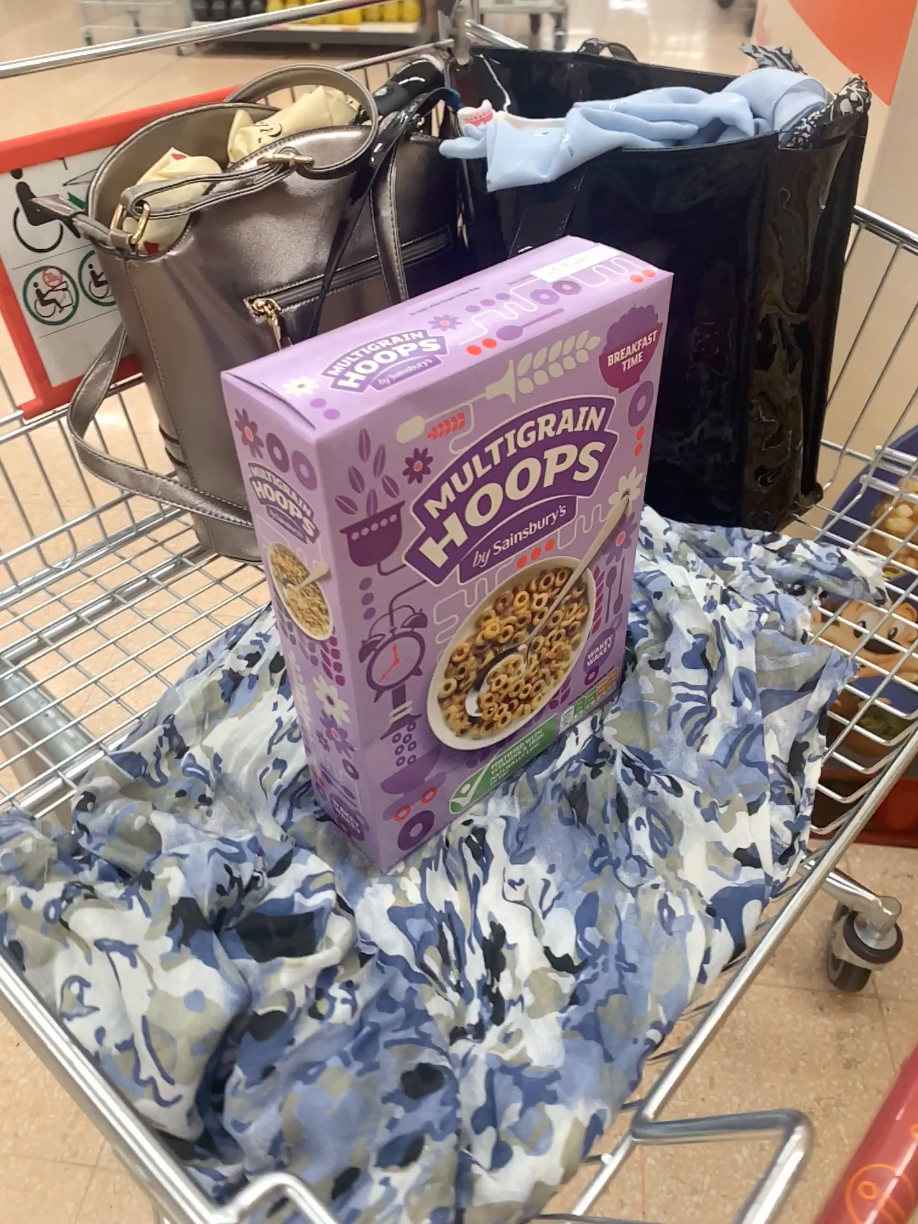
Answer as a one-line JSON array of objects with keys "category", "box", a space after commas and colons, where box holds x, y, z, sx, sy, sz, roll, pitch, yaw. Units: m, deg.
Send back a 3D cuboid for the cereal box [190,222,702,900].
[{"category": "cereal box", "box": [0.007, -0.019, 0.461, 0.211, 0.267, 0.070, -31, 49, -30]}]
